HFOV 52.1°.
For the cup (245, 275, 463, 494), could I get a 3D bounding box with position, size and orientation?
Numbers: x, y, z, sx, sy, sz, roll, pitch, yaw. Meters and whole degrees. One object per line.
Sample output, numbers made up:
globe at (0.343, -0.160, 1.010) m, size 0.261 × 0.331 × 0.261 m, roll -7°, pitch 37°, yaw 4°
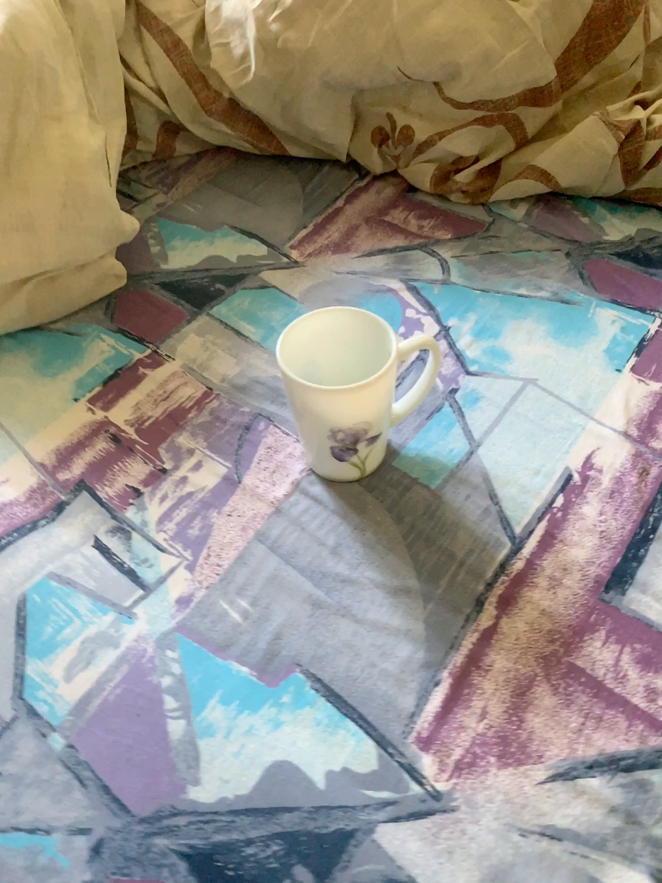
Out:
cup at (0.014, -0.038, 0.463) m, size 0.120 × 0.099 × 0.081 m, roll -13°, pitch 53°, yaw -6°
